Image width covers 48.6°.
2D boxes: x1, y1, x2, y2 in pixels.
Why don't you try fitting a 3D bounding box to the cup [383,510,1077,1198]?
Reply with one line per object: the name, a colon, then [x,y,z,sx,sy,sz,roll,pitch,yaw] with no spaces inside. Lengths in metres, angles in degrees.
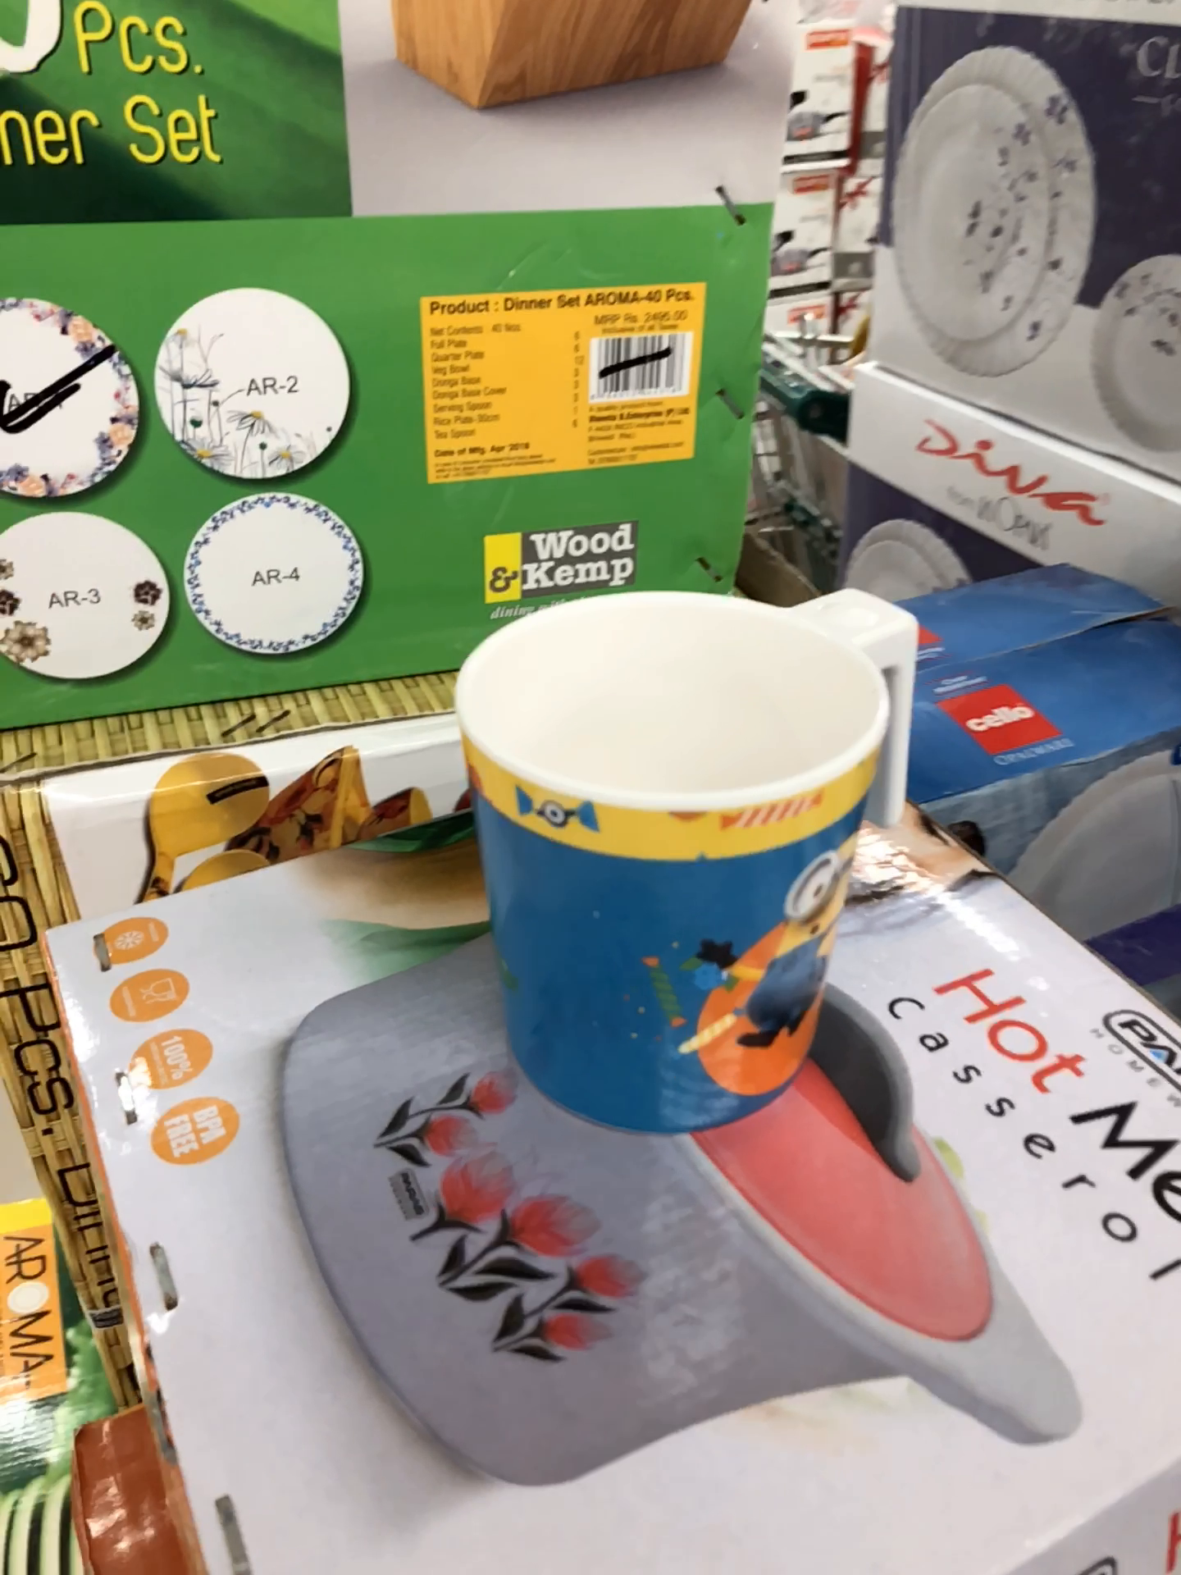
cup: [0.029,0.005,0.275,0.111,0.079,0.080,-27,41,-33]
